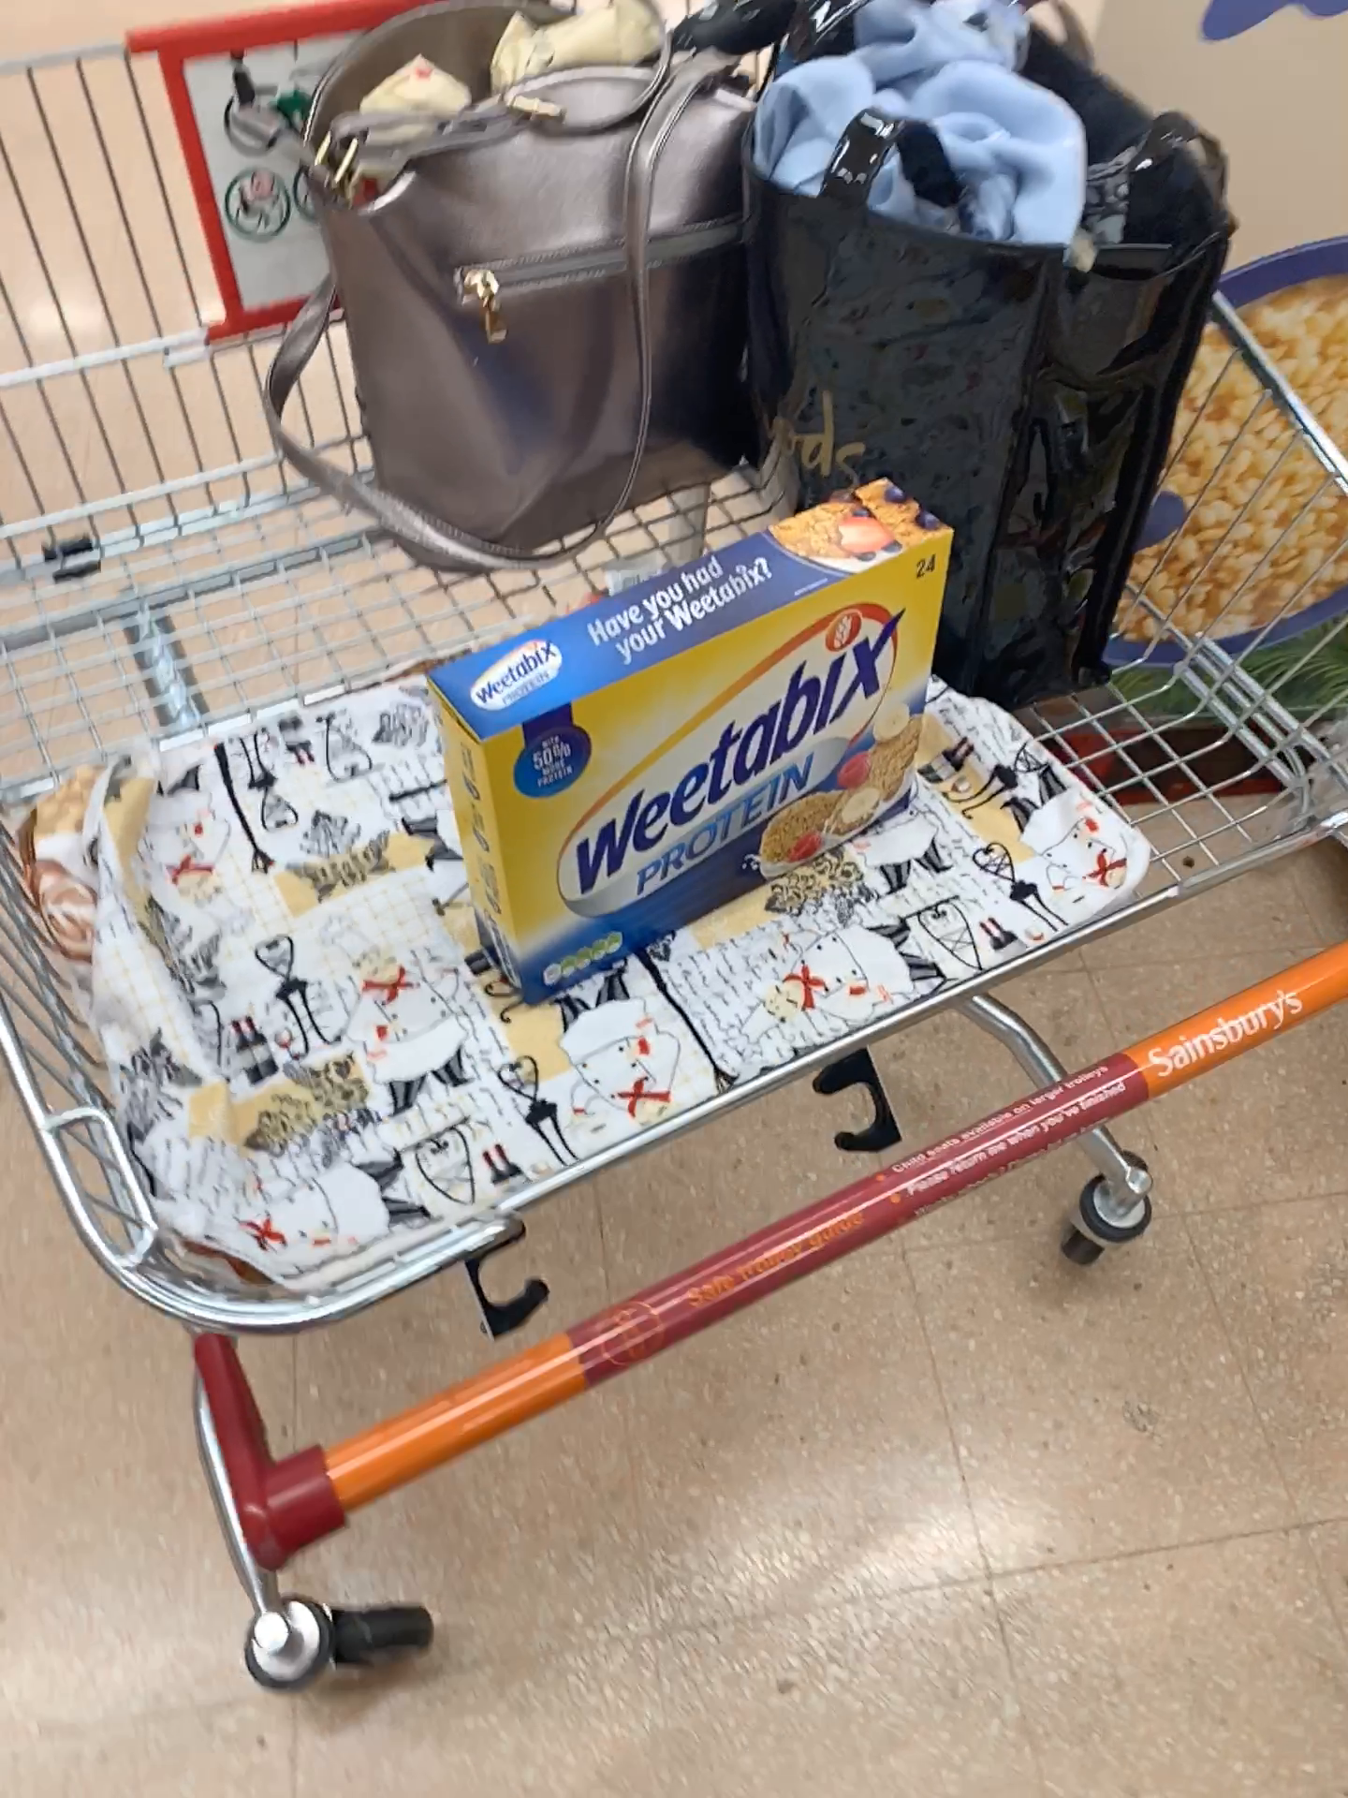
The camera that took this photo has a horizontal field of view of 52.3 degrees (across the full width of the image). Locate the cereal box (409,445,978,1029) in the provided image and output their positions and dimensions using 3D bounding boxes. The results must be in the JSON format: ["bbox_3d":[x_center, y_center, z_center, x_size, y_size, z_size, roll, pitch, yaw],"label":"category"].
[{"bbox_3d":[0.016,-0.077,0.669,0.261,0.198,0.060,-28,54,-22],"label":"cereal box"}]
